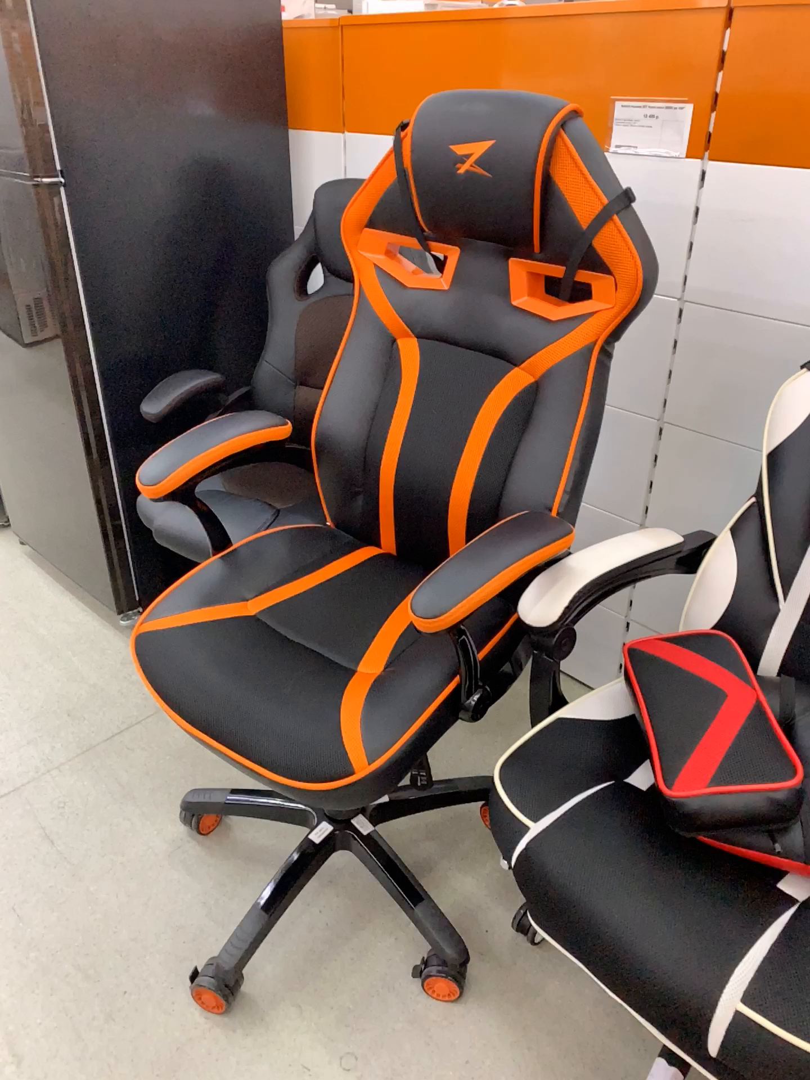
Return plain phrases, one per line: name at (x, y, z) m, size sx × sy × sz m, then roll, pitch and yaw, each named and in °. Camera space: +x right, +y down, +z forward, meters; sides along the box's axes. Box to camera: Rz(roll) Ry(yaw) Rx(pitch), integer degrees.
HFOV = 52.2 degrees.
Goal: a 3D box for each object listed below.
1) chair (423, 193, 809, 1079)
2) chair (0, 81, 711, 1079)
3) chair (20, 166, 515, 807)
chair at (0.616, 0.256, 1.102) m, size 0.851 × 1.193 × 0.823 m, roll 22°, pitch 36°, yaw 34°
chair at (-0.147, 0.033, 1.302) m, size 0.732 × 1.313 × 0.722 m, roll -26°, pitch 38°, yaw -38°
chair at (-0.298, -0.197, 2.154) m, size 0.821 × 1.323 × 0.723 m, roll 22°, pitch 36°, yaw 34°
